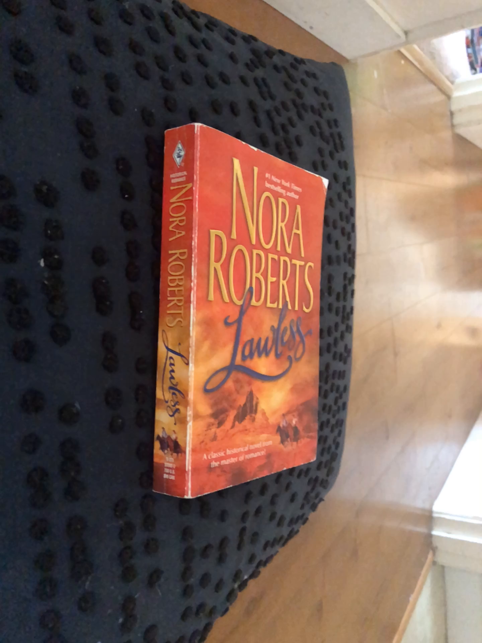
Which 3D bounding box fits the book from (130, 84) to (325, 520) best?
[{"bbox_3d":[0.001,-0.007,0.281,0.121,0.040,0.180,4,85,-57],"label":"book"}]
